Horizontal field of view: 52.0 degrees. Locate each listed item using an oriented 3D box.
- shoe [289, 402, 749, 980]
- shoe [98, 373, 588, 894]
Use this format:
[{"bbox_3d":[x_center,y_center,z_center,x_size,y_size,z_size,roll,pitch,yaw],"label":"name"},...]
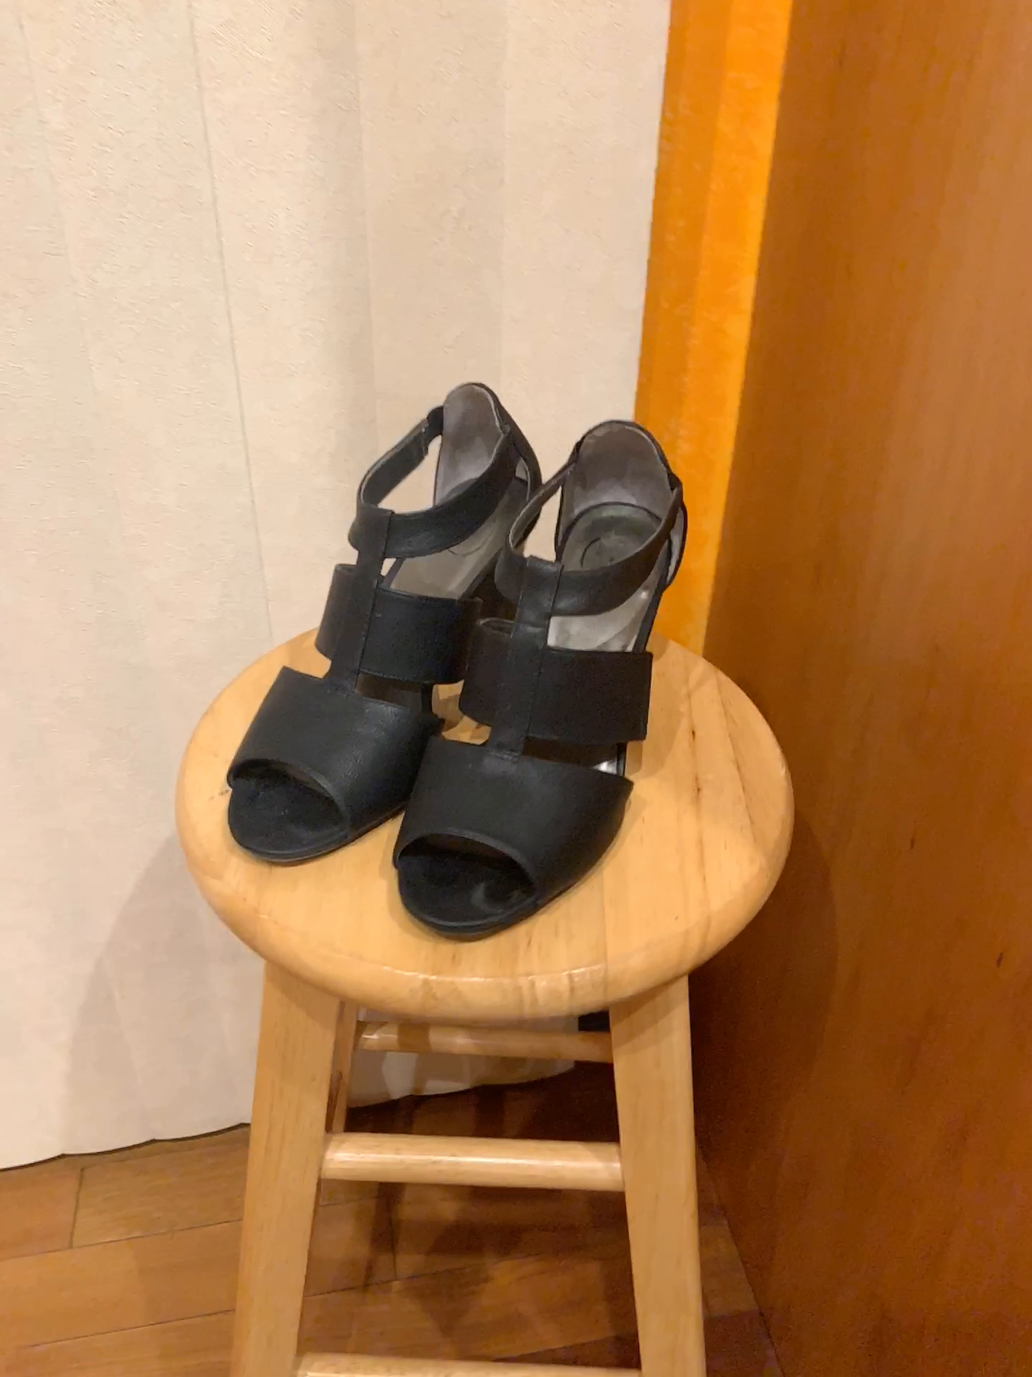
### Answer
[{"bbox_3d":[0.016,-0.018,0.461,0.100,0.130,0.234,15,37,19],"label":"shoe"},{"bbox_3d":[-0.059,-0.043,0.494,0.090,0.125,0.245,16,37,20],"label":"shoe"}]
